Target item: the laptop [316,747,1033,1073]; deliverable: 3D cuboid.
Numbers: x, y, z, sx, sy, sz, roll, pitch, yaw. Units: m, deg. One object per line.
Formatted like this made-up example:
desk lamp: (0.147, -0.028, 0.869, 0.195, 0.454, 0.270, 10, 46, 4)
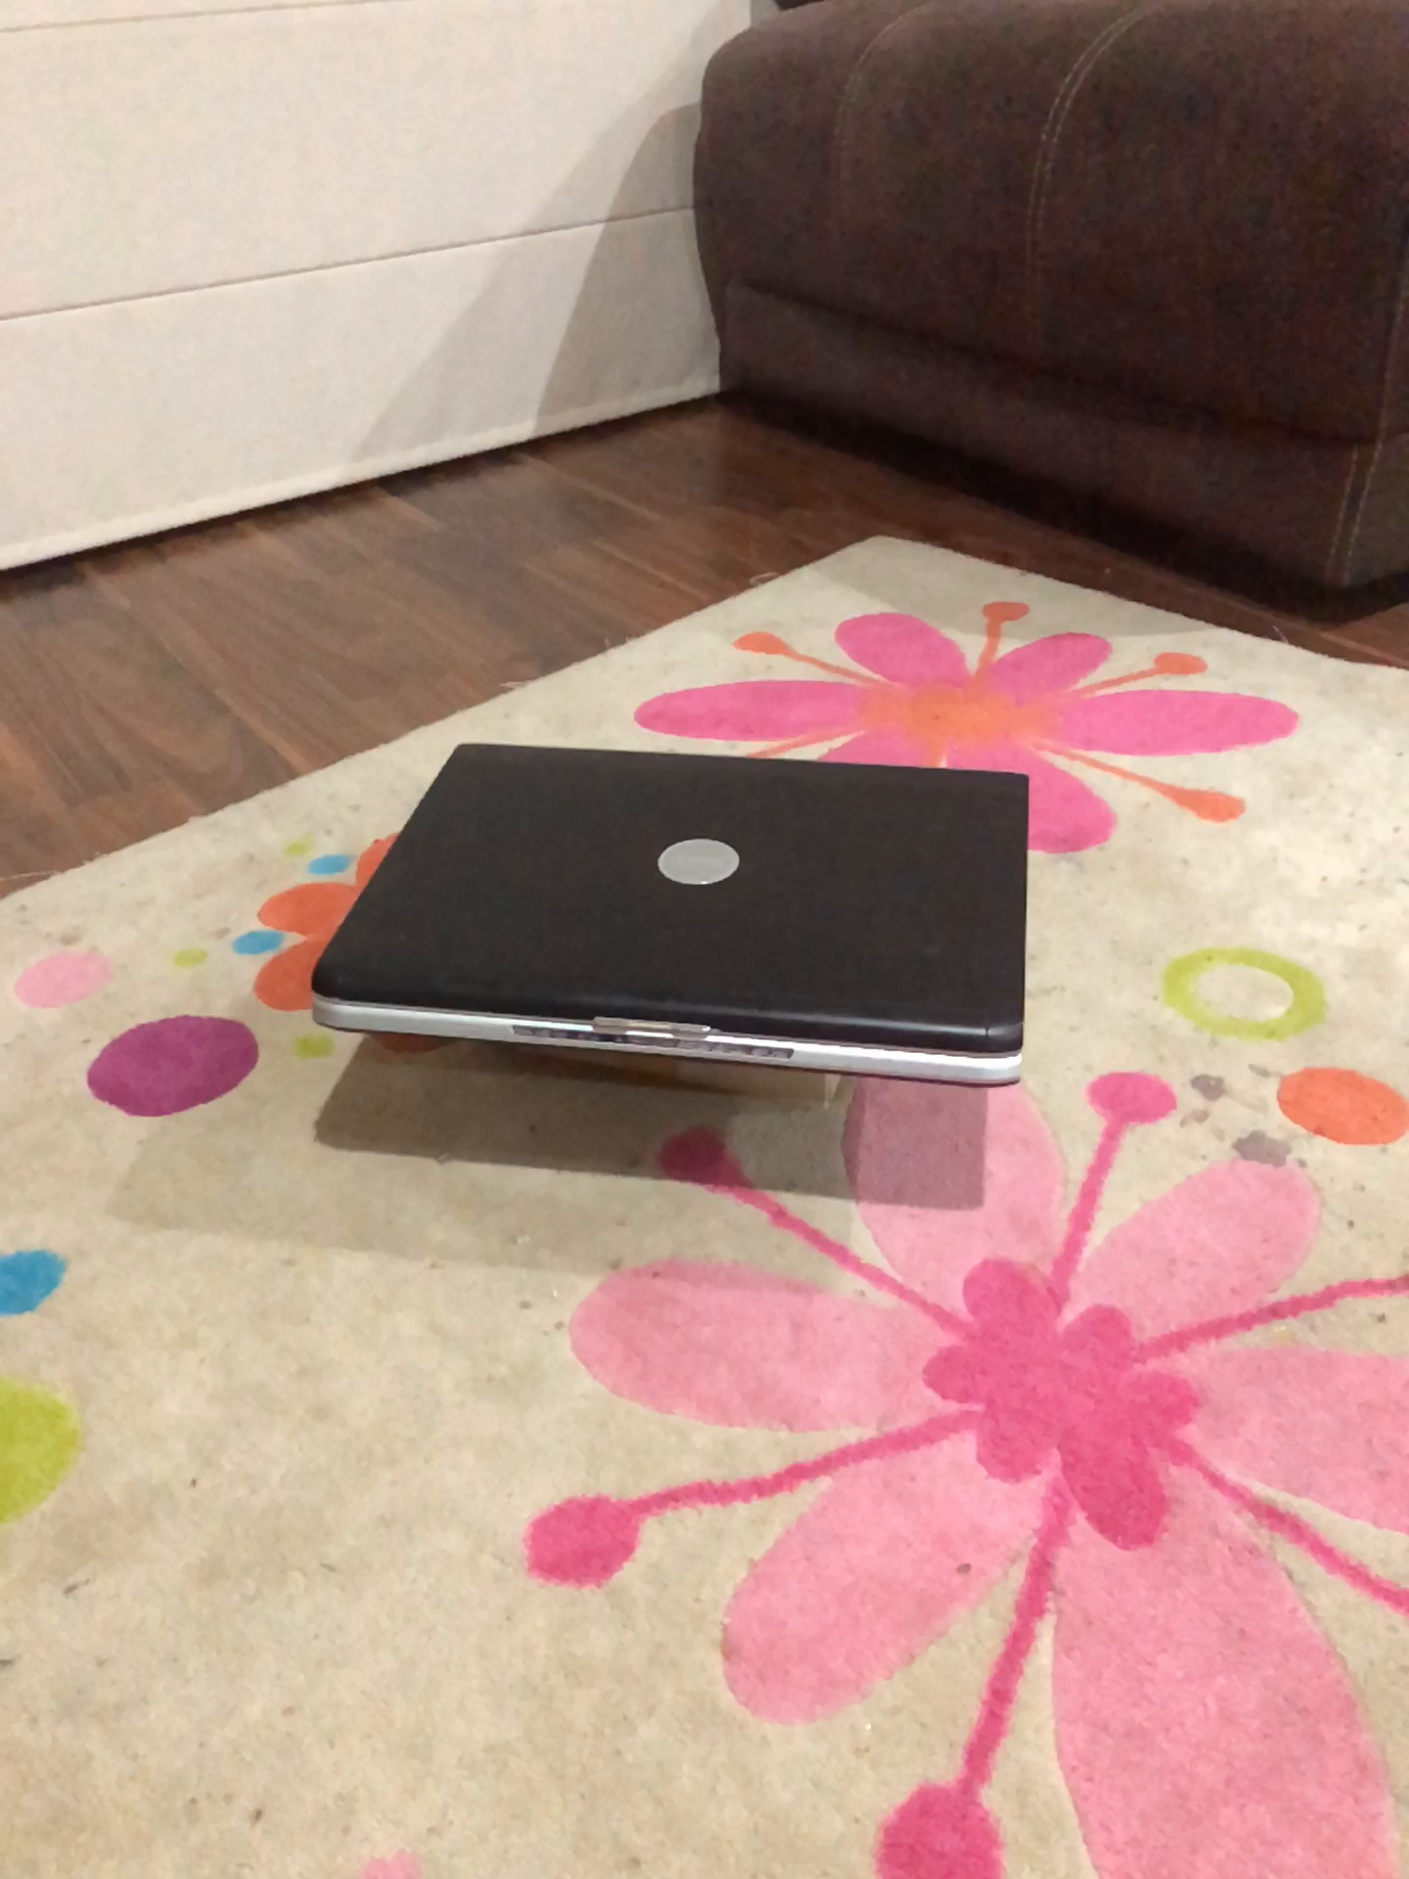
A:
laptop: (-0.005, -0.029, 0.844, 0.353, 0.015, 0.233, 4, 40, 13)
